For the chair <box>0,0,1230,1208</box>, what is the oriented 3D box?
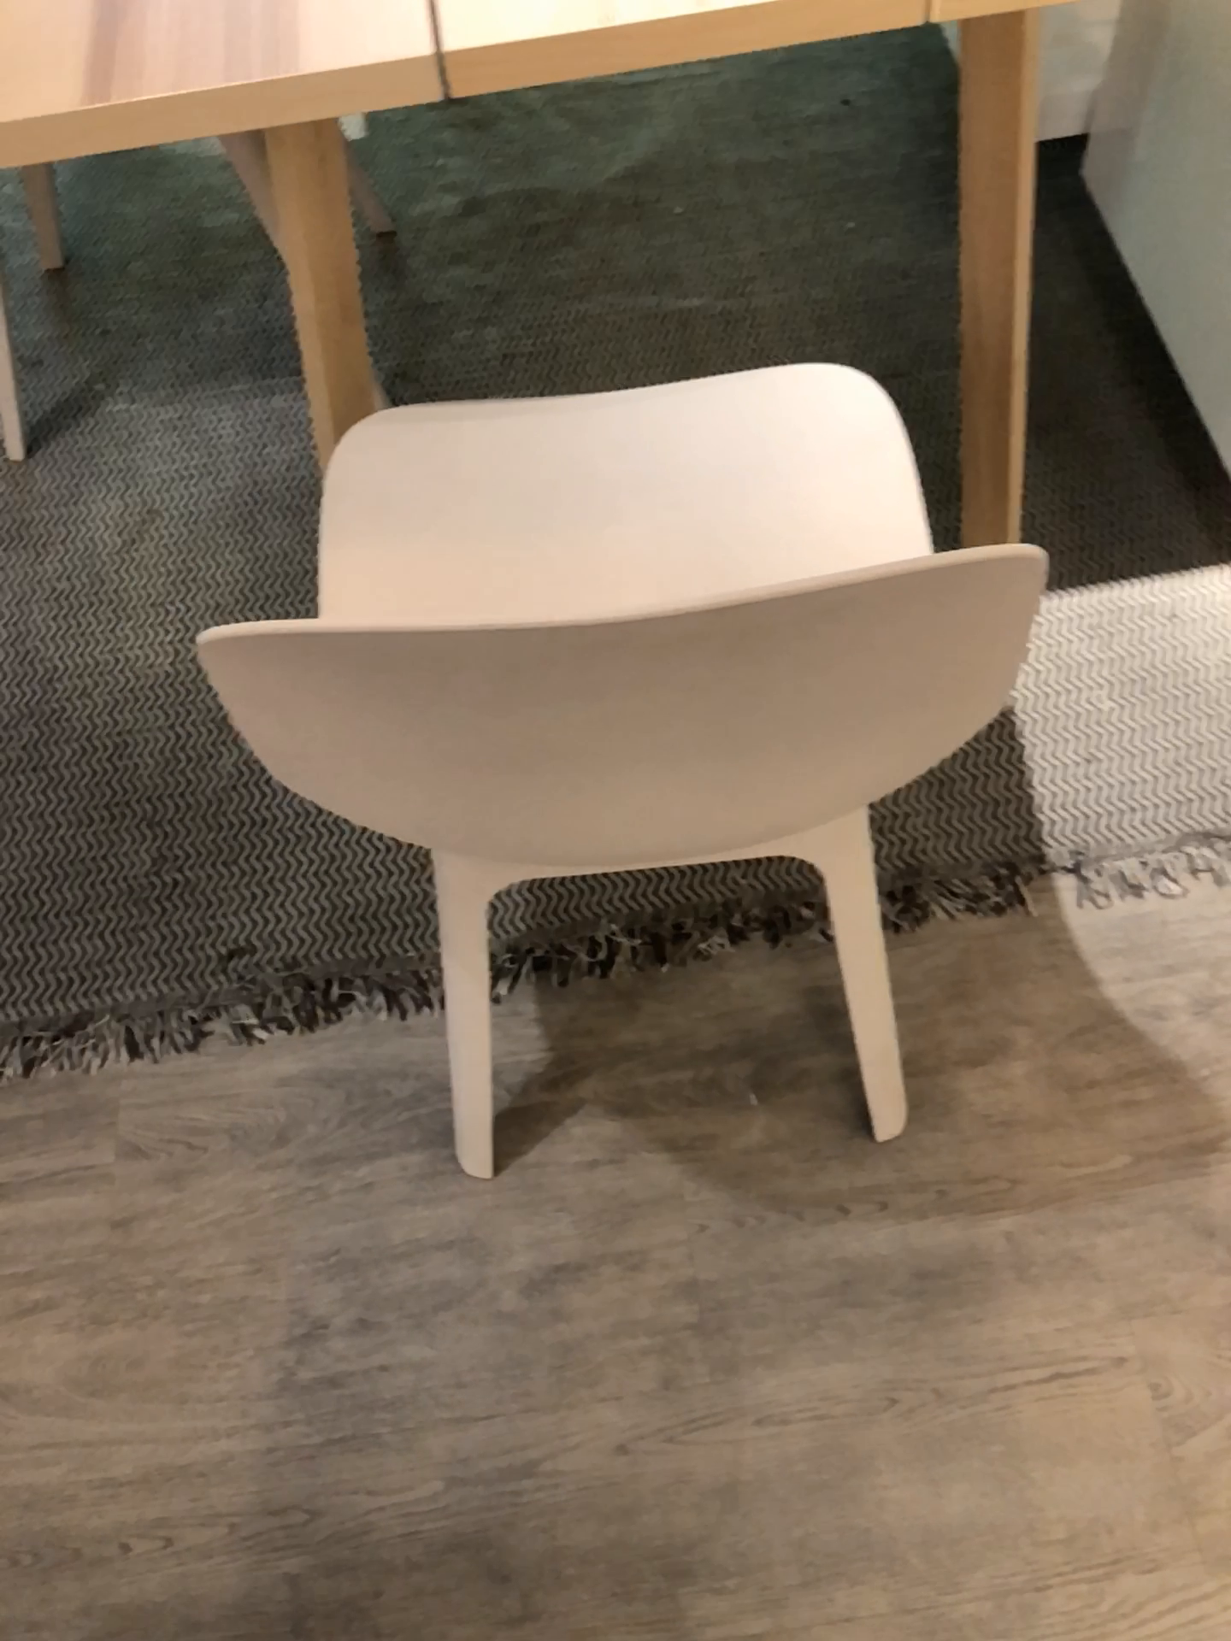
[{"bbox_3d":[0.003,-0.112,0.936,0.460,0.766,0.512,-7,60,1],"label":"chair"}]
